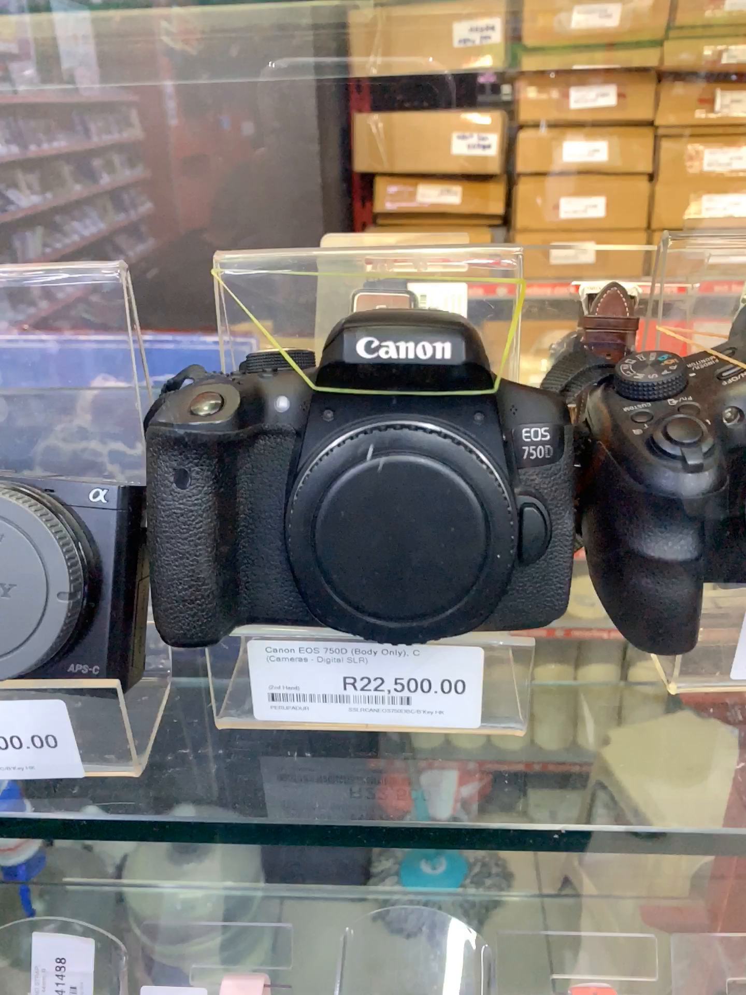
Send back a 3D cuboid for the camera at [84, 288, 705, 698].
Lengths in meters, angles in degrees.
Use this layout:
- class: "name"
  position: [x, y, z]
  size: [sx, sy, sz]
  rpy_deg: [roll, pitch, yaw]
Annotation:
- class: "camera"
  position: [0.003, -0.004, 0.213]
  size: [0.130, 0.090, 0.070]
  rpy_deg: [0, 26, -2]
